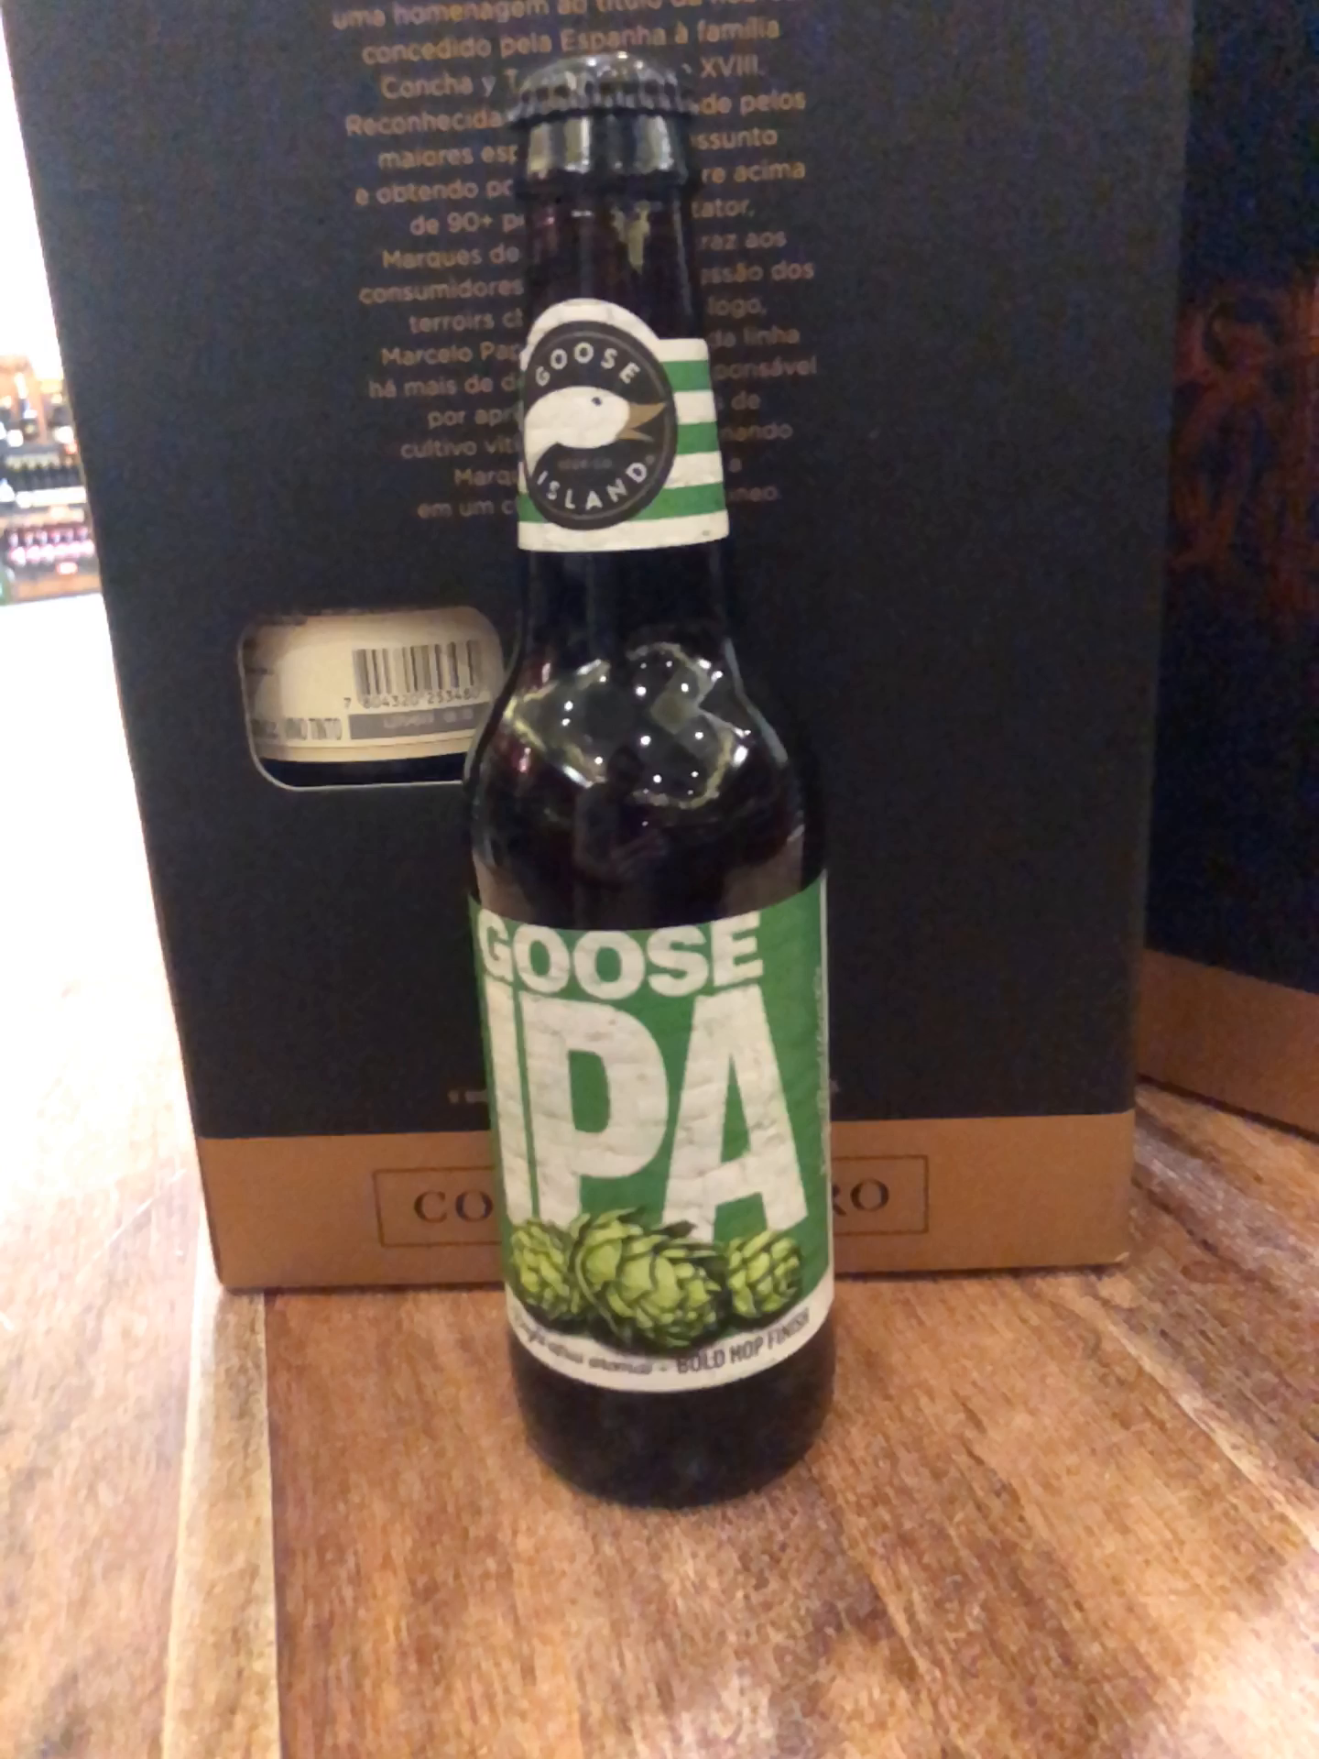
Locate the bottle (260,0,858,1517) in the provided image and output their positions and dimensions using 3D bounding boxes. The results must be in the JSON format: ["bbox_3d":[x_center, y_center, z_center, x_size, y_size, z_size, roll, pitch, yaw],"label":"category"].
[{"bbox_3d":[-0.006,-0.012,0.239,0.070,0.229,0.060,-1,18,6],"label":"bottle"}]
